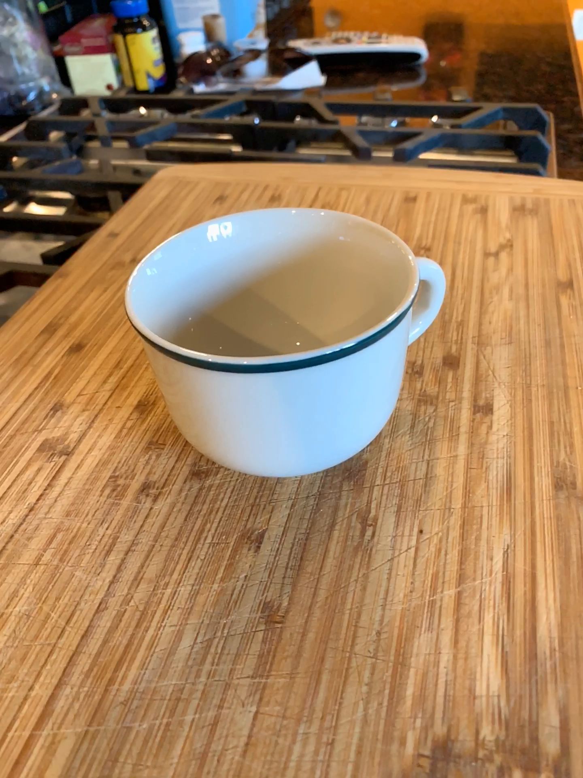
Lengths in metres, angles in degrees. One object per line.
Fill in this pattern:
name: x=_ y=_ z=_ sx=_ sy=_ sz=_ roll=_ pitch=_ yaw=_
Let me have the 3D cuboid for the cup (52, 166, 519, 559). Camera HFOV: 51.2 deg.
cup: x=-0.004 y=-0.019 z=0.213 sx=0.120 sy=0.060 sz=0.090 roll=-24 pitch=45 yaw=-20
